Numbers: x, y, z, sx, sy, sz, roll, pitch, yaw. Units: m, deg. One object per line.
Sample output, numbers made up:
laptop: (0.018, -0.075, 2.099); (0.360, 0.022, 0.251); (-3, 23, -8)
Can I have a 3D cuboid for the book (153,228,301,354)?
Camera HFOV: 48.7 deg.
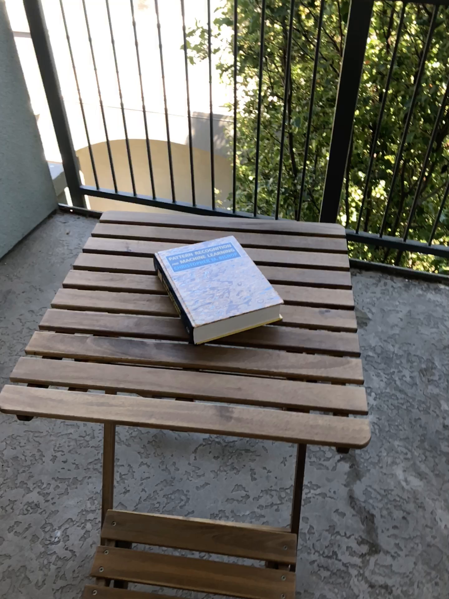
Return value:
book: (-0.003, -0.029, 0.927); (0.190, 0.050, 0.251); (-15, 44, -16)
